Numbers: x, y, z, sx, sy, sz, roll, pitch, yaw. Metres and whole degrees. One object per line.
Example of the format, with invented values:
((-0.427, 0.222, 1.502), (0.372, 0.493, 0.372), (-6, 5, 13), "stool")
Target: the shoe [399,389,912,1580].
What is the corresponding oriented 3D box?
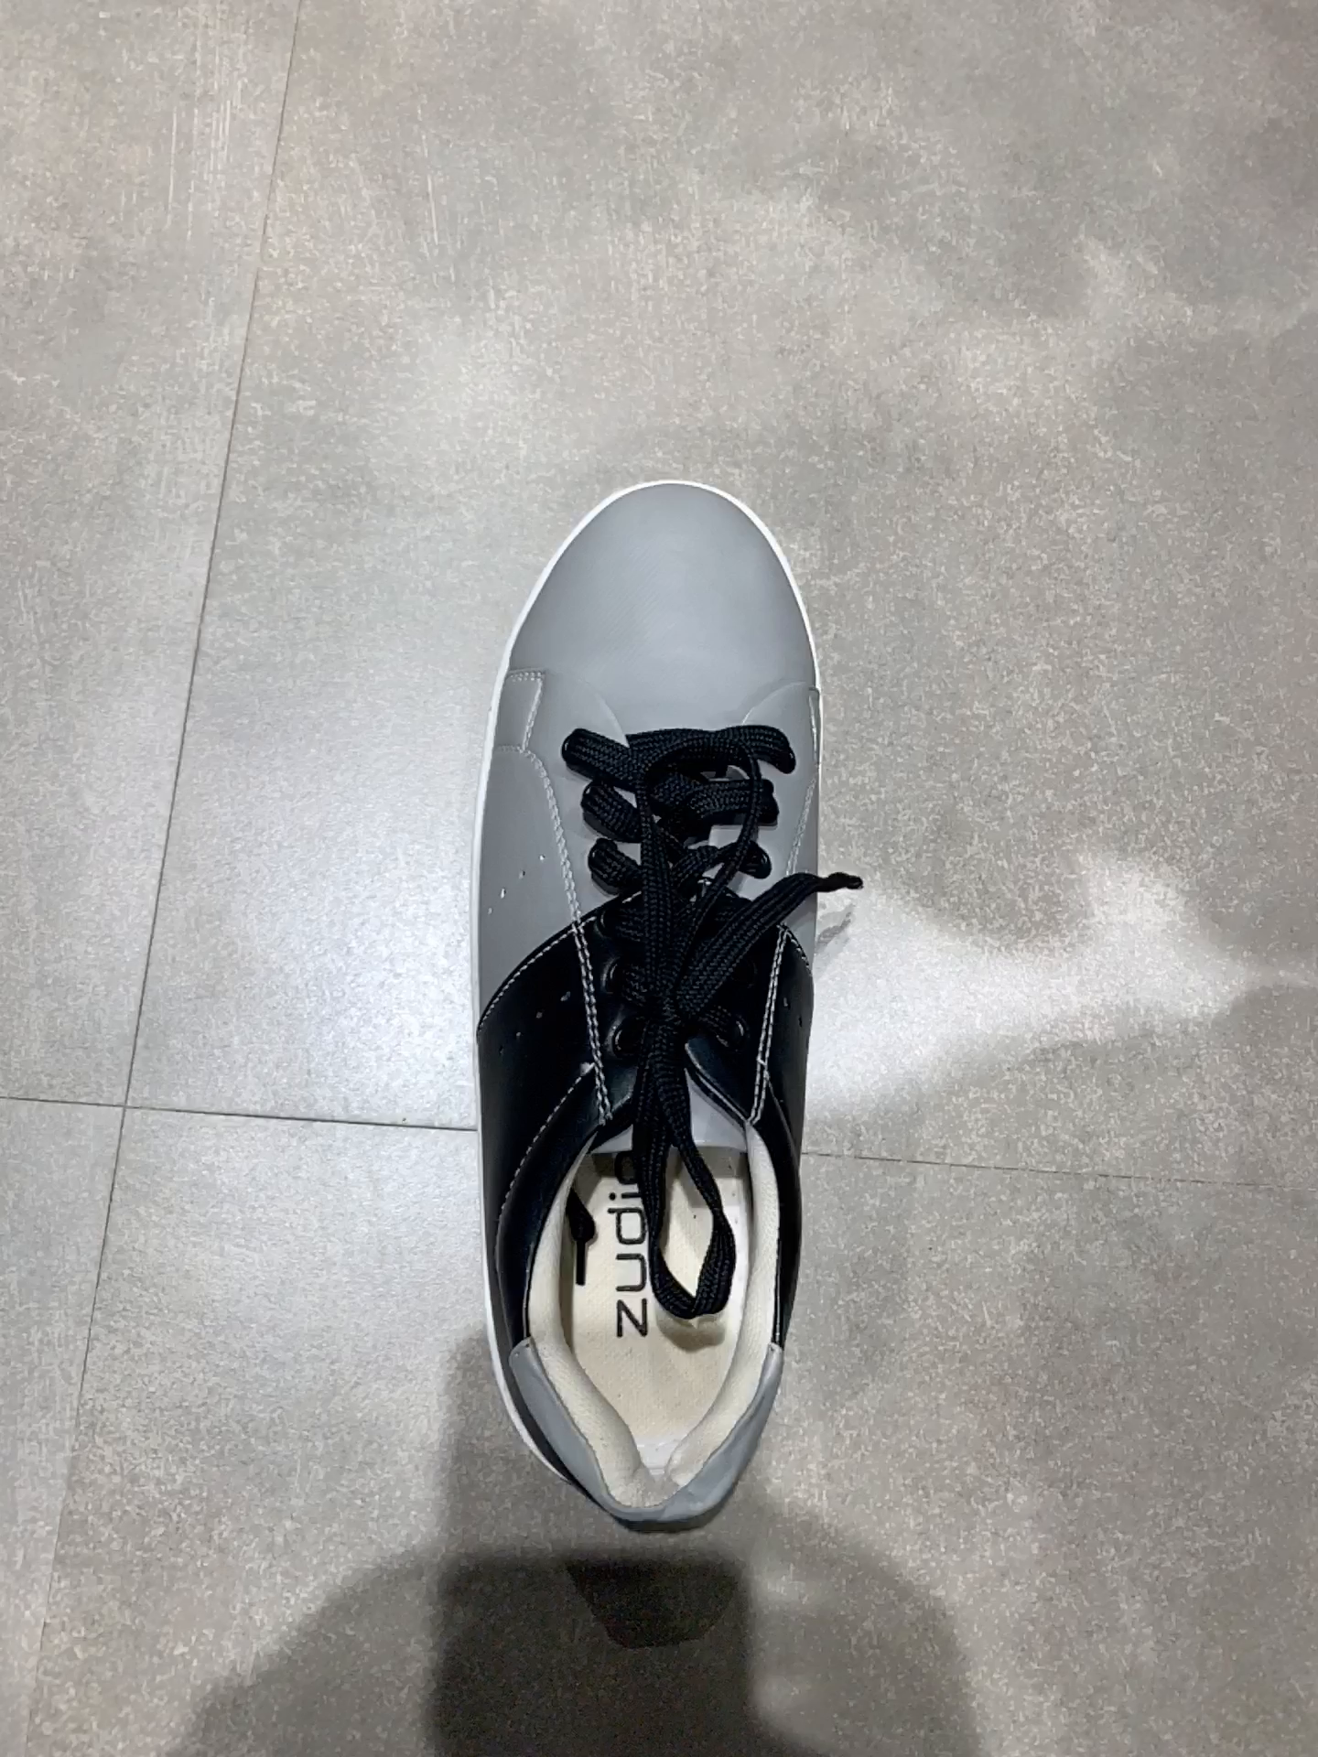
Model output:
((-0.002, 0.022, 0.344), (0.101, 0.093, 0.263), (2, 76, -4), "shoe")
